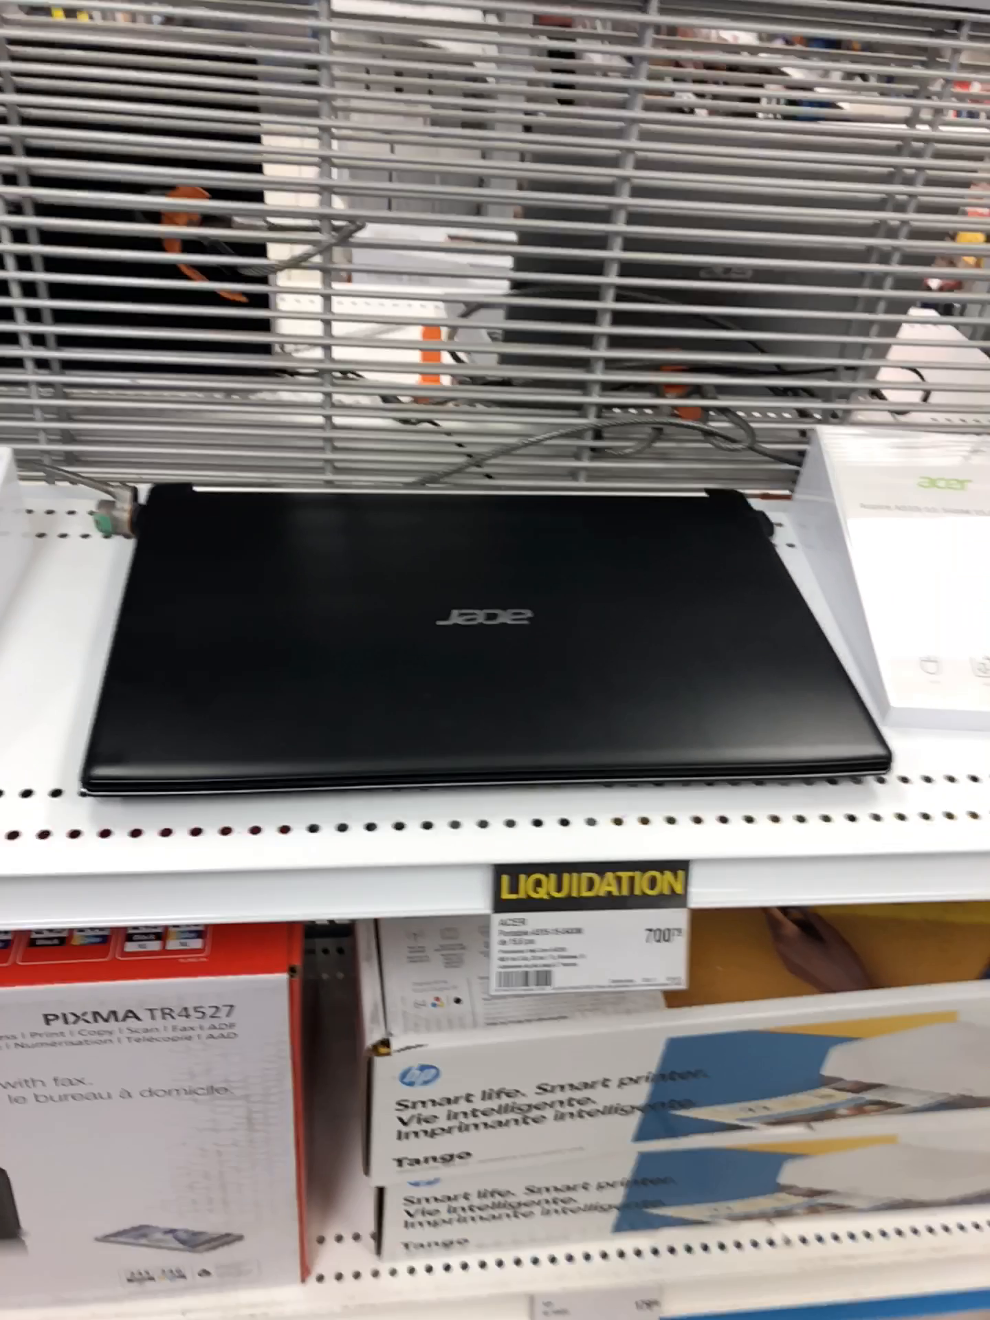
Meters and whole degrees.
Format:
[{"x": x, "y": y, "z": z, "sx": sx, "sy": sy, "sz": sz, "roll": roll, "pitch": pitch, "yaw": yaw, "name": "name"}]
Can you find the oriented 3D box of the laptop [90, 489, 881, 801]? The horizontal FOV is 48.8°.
[{"x": -0.006, "y": -0.022, "z": 0.581, "sx": 0.361, "sy": 0.012, "sz": 0.228, "roll": -1, "pitch": 41, "yaw": -9, "name": "laptop"}]
